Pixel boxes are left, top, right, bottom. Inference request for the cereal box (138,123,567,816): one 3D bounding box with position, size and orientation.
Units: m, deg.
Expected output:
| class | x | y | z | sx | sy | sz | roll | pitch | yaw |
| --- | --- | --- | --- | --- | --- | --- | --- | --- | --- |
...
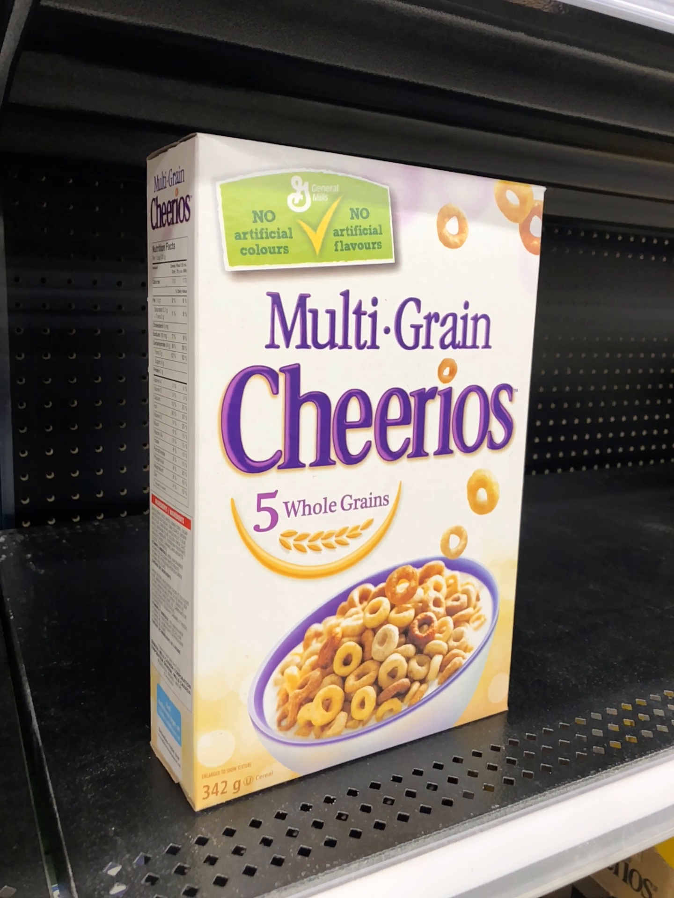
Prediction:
| class | x | y | z | sx | sy | sz | roll | pitch | yaw |
| --- | --- | --- | --- | --- | --- | --- | --- | --- | --- |
| cereal box | 0.009 | 0.006 | 0.384 | 0.200 | 0.289 | 0.070 | -4 | 11 | -30 |
